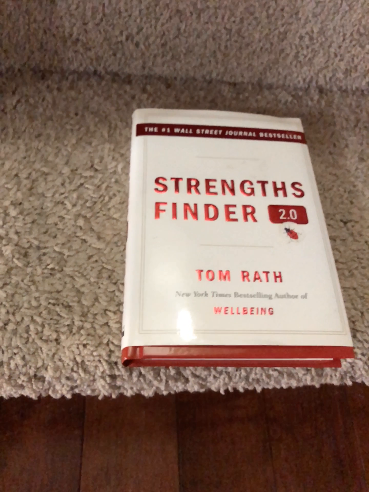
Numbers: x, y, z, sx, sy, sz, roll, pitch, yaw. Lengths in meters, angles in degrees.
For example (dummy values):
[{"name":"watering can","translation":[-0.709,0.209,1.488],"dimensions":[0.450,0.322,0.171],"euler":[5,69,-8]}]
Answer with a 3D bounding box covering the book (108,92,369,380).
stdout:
[{"name":"book","translation":[0.029,-0.016,0.266],"dimensions":[0.136,0.029,0.190],"euler":[3,60,-6]}]
